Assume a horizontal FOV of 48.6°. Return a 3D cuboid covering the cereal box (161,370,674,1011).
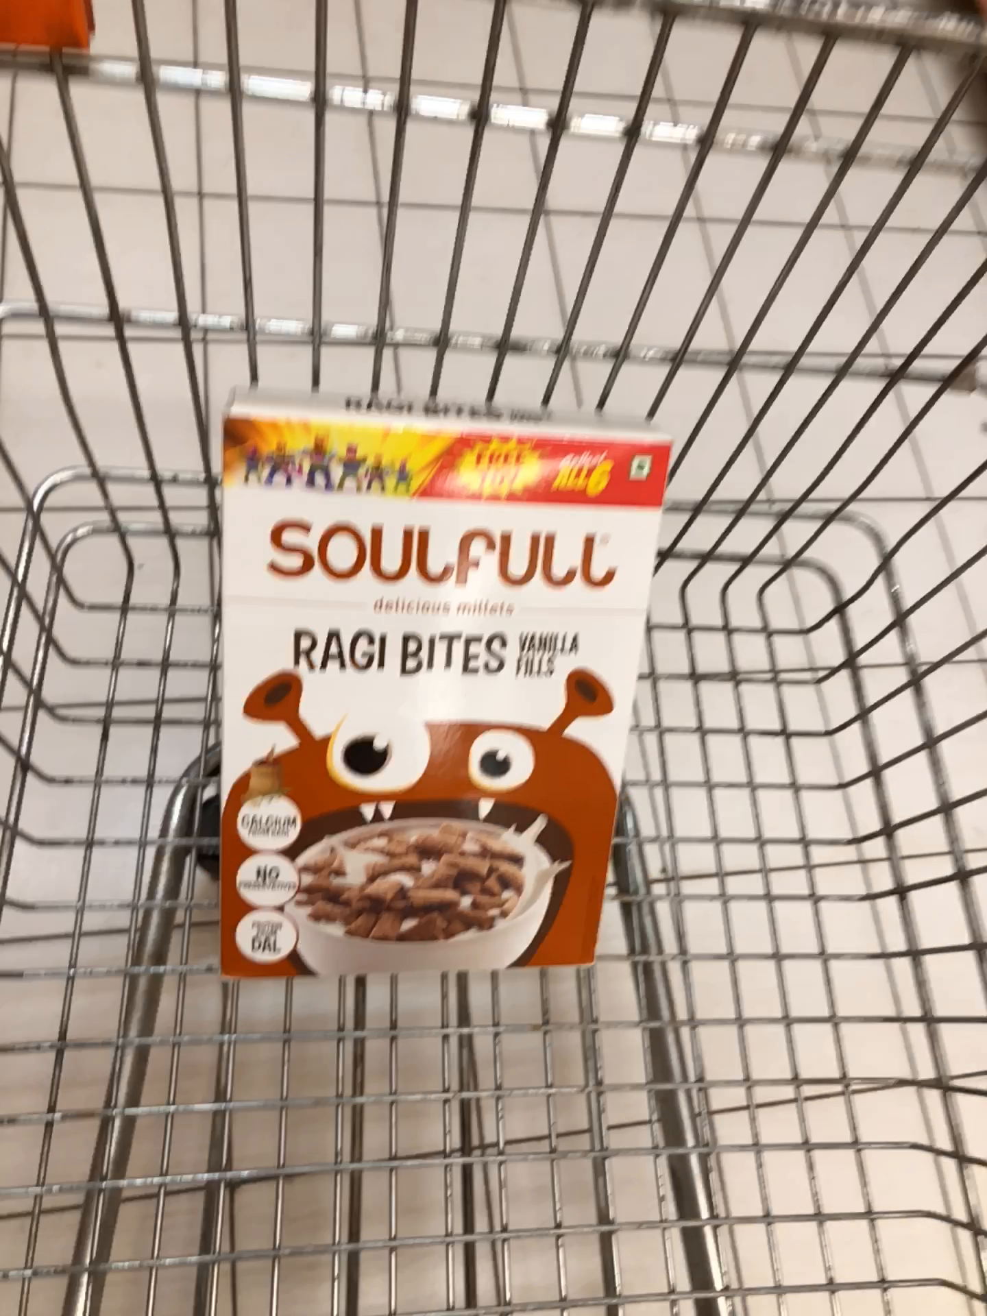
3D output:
[{"bbox_3d":[-0.042,0.020,0.458,0.180,0.249,0.070,1,23,-13],"label":"cereal box"}]
